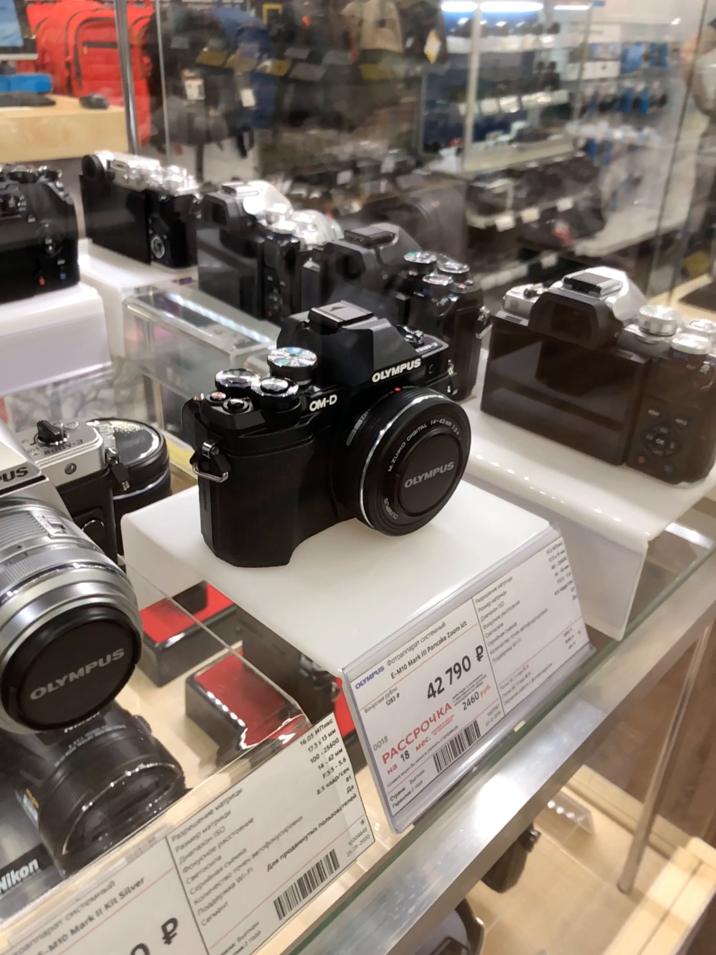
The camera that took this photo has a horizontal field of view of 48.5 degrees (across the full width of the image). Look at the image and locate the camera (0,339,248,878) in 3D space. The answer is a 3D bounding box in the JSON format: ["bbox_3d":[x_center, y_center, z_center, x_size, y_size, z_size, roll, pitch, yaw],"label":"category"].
[{"bbox_3d":[-0.107,0.024,0.232,0.112,0.080,0.094,-24,39,-37],"label":"camera"}]

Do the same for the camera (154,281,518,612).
[{"bbox_3d":[-0.006,-0.021,0.325,0.130,0.082,0.064,-24,39,-37],"label":"camera"}]

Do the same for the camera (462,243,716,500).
[{"bbox_3d":[0.134,-0.062,0.404,0.123,0.074,0.094,27,38,35],"label":"camera"}]
